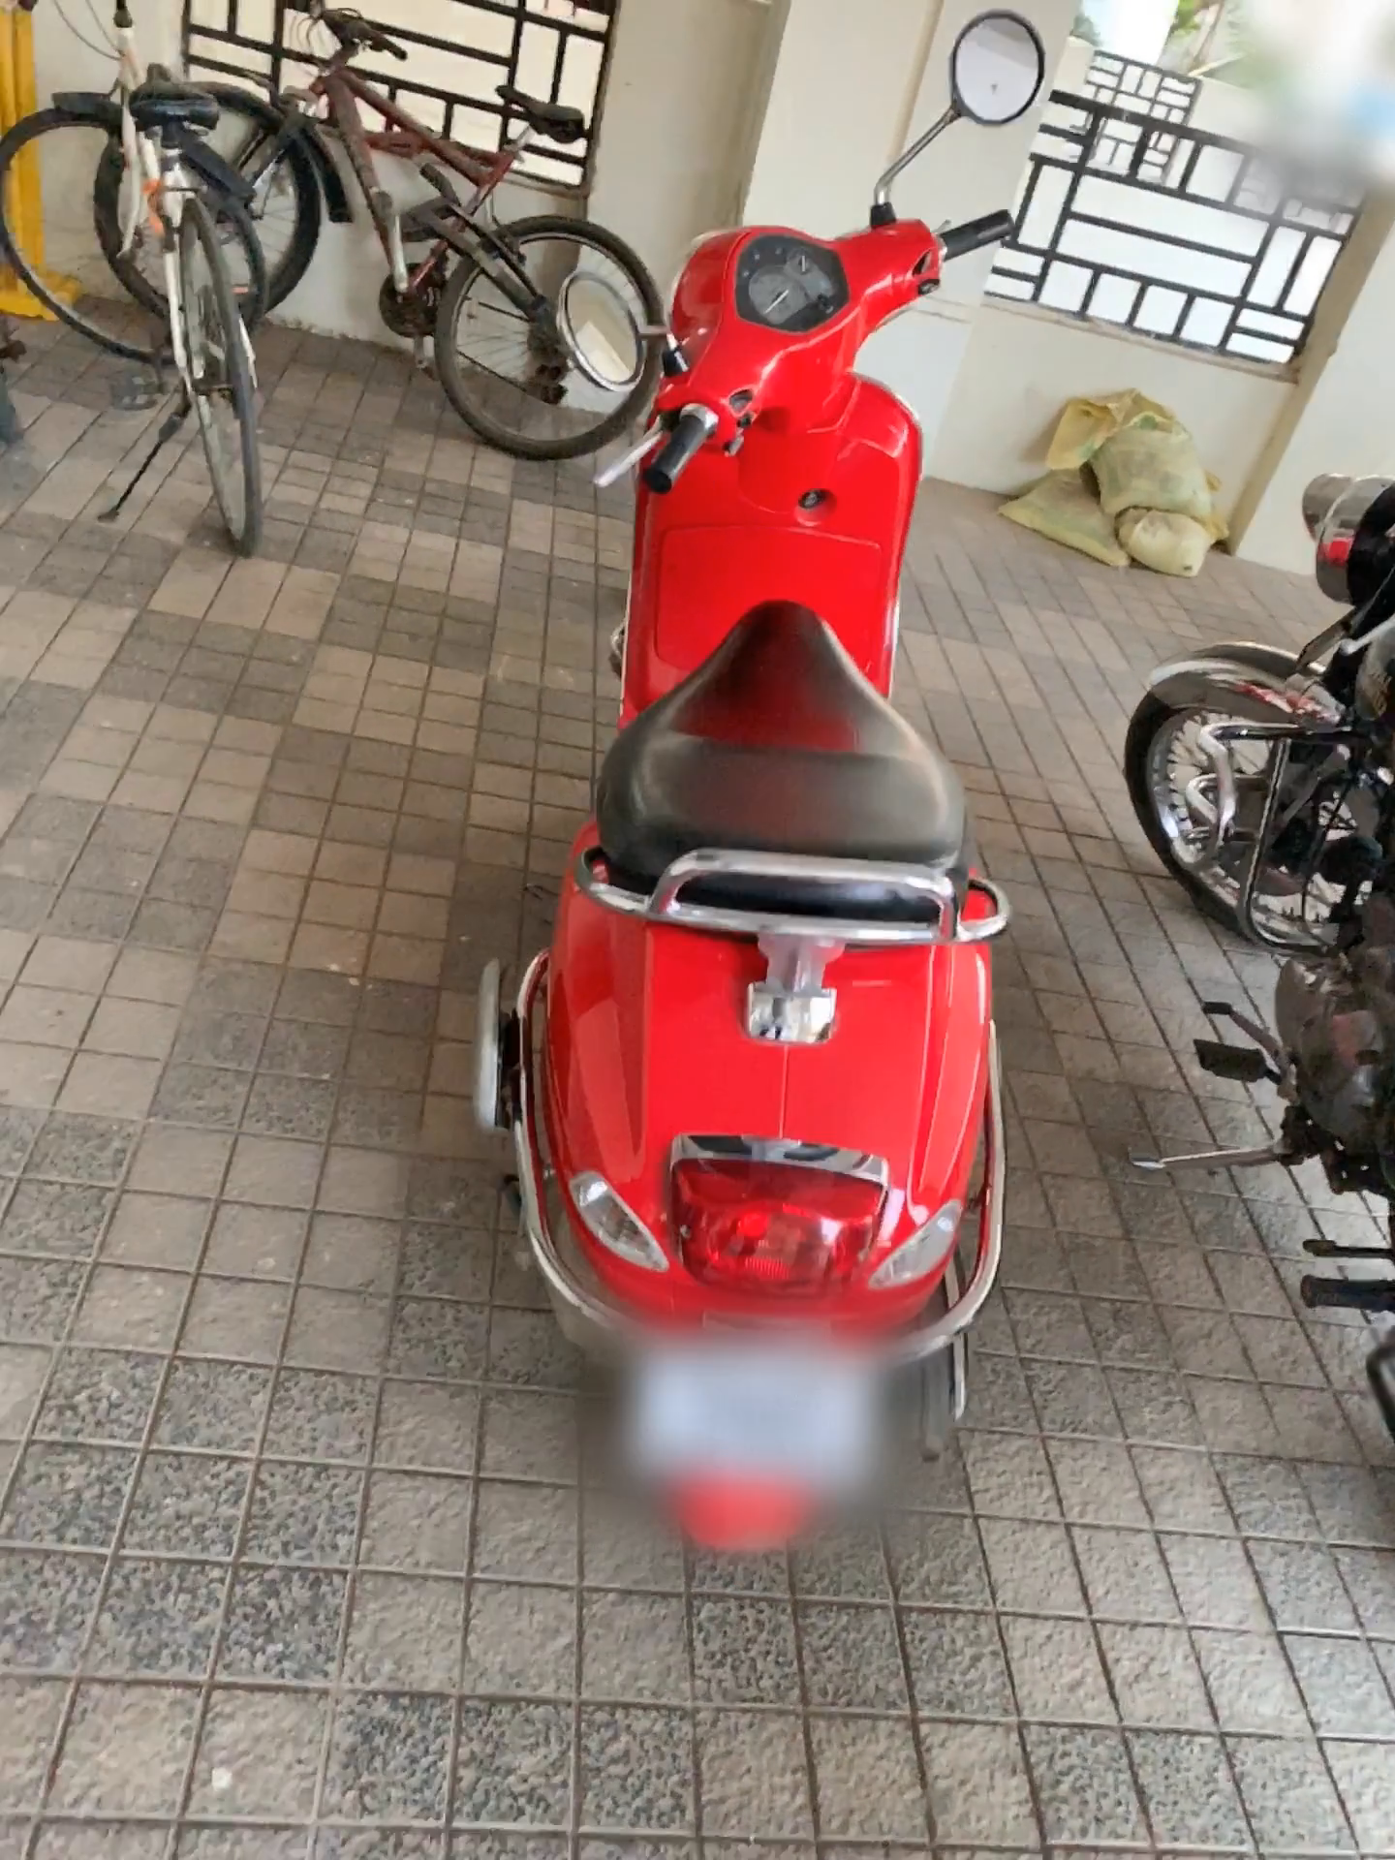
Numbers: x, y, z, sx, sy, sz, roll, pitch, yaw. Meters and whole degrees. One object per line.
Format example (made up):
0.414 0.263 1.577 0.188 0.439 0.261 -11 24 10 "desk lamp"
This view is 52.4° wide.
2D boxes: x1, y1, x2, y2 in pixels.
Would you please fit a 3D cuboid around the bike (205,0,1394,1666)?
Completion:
-0.138 -0.236 1.754 0.681 1.262 1.553 7 37 -14 "bike"
